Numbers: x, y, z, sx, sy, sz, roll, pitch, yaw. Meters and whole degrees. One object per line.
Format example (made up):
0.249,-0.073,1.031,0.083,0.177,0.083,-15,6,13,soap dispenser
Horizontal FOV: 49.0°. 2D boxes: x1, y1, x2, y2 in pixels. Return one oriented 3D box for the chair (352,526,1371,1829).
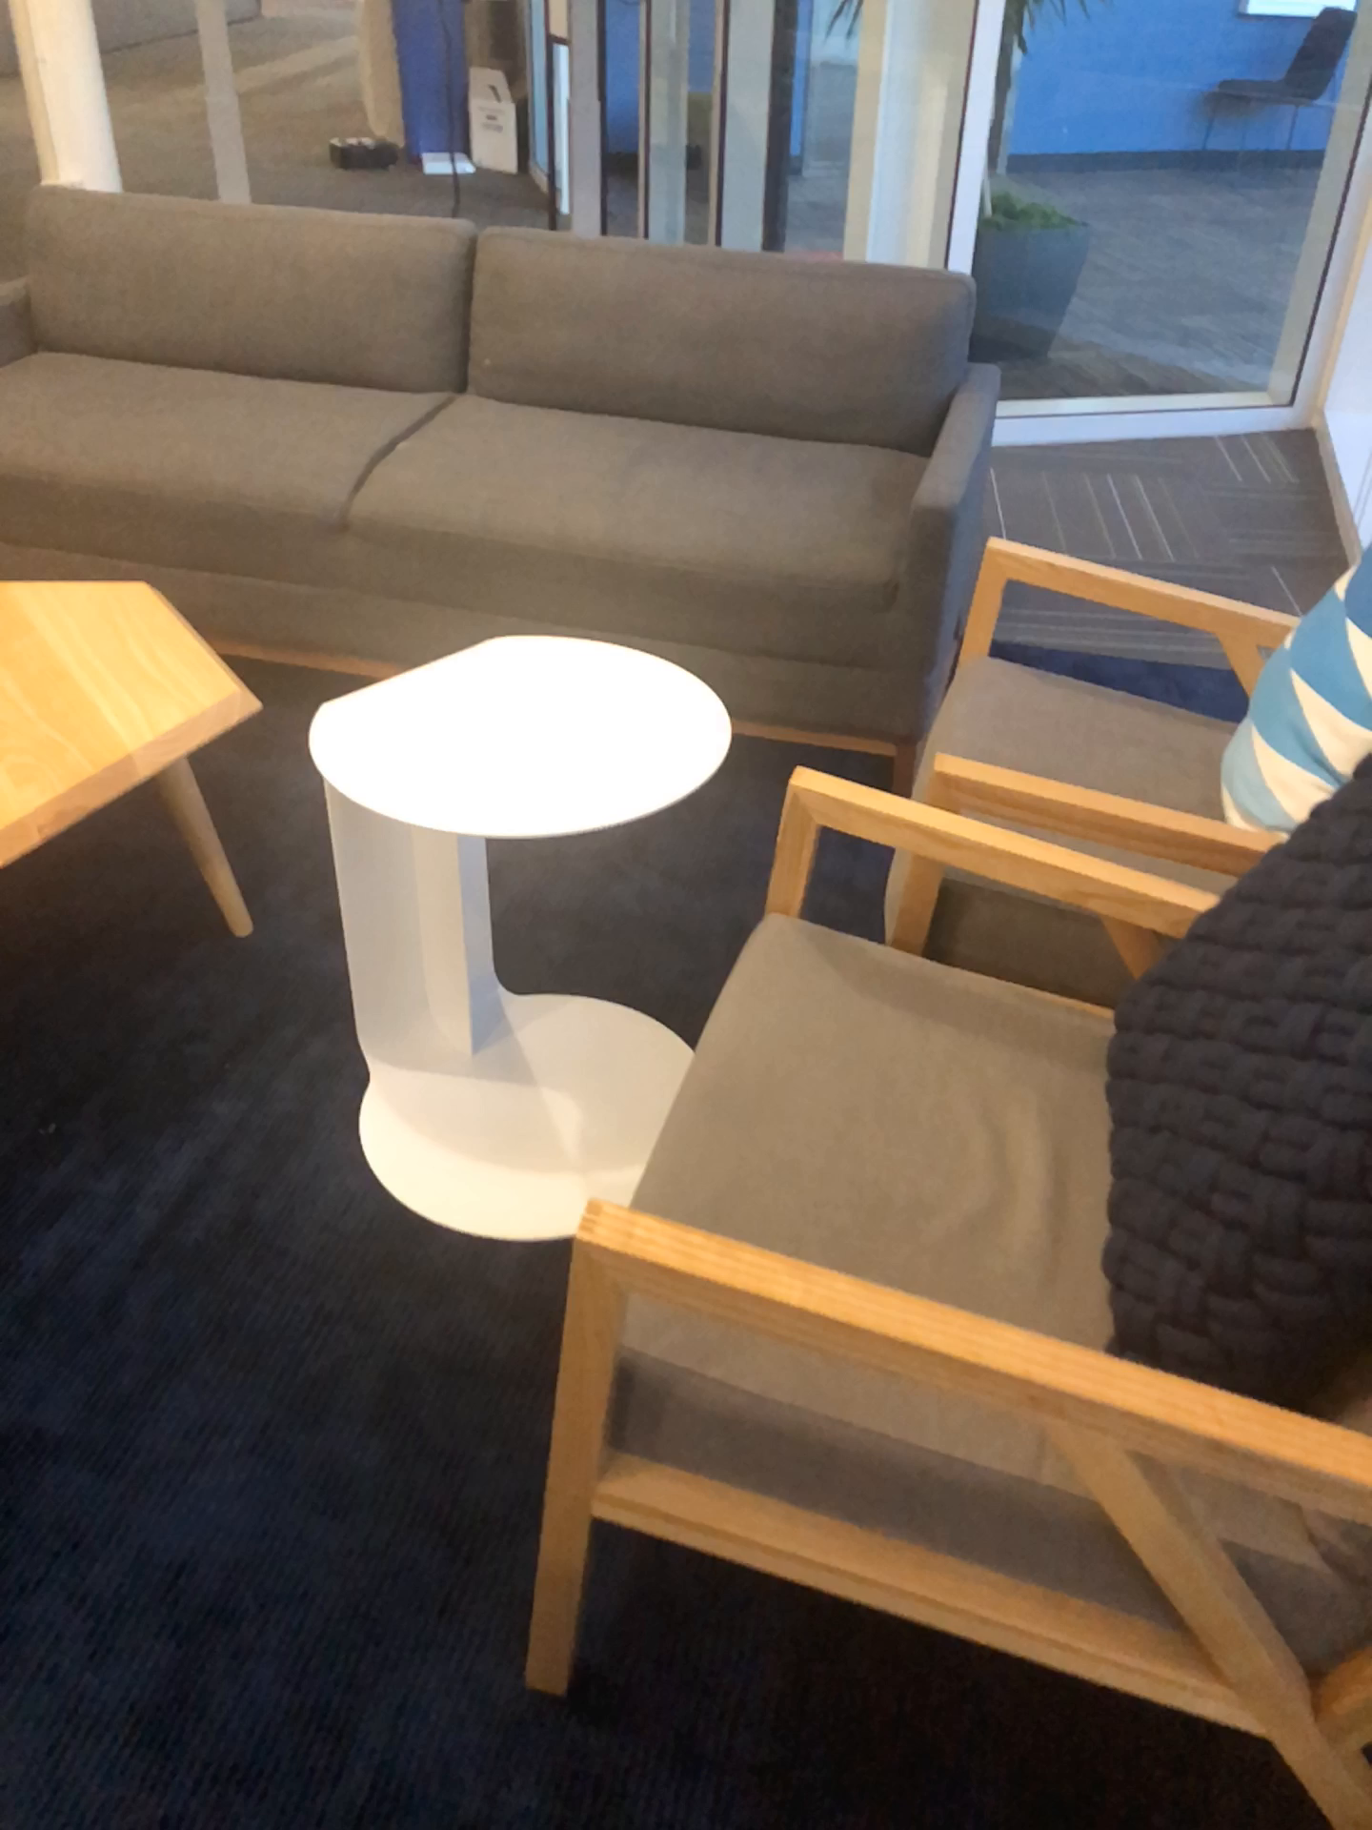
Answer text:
0.316,0.225,1.267,0.850,0.773,0.747,10,35,13,chair
